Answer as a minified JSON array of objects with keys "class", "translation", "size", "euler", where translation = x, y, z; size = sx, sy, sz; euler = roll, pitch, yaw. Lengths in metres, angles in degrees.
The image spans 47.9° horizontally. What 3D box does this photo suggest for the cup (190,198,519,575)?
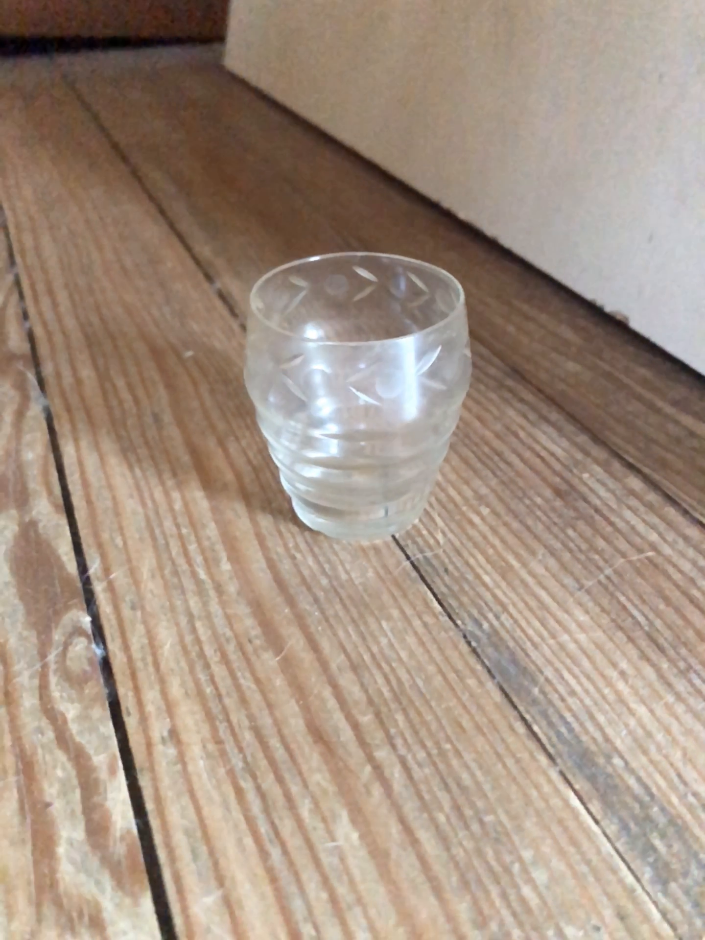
[{"class":"cup","translation":[0.002,-0.022,0.183],"size":[0.050,0.060,0.050],"euler":[-1,37,1]}]
